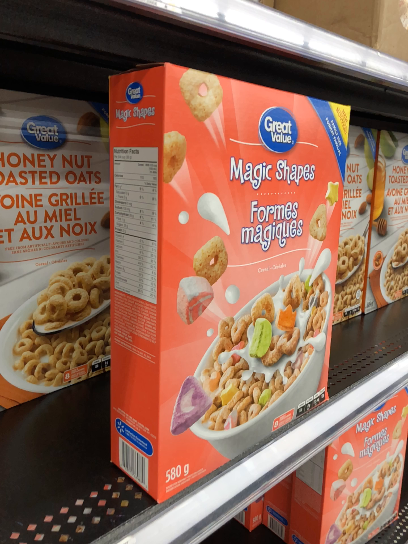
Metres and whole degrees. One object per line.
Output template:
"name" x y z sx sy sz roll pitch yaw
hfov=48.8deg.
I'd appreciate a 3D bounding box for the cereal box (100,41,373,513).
"cereal box" 0.040 -0.003 0.408 0.261 0.319 0.070 -11 19 -43
